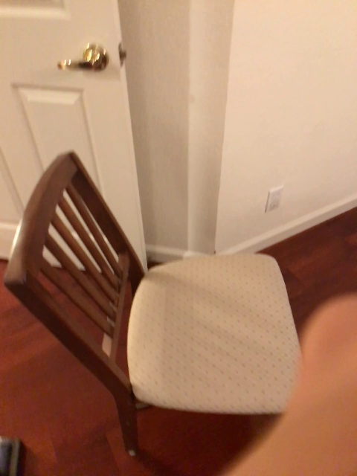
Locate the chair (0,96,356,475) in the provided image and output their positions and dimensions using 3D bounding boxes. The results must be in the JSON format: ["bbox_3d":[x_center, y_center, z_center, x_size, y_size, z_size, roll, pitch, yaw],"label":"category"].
[{"bbox_3d":[0.035,0.212,0.968,0.560,0.924,0.504,-1,46,4],"label":"chair"}]
